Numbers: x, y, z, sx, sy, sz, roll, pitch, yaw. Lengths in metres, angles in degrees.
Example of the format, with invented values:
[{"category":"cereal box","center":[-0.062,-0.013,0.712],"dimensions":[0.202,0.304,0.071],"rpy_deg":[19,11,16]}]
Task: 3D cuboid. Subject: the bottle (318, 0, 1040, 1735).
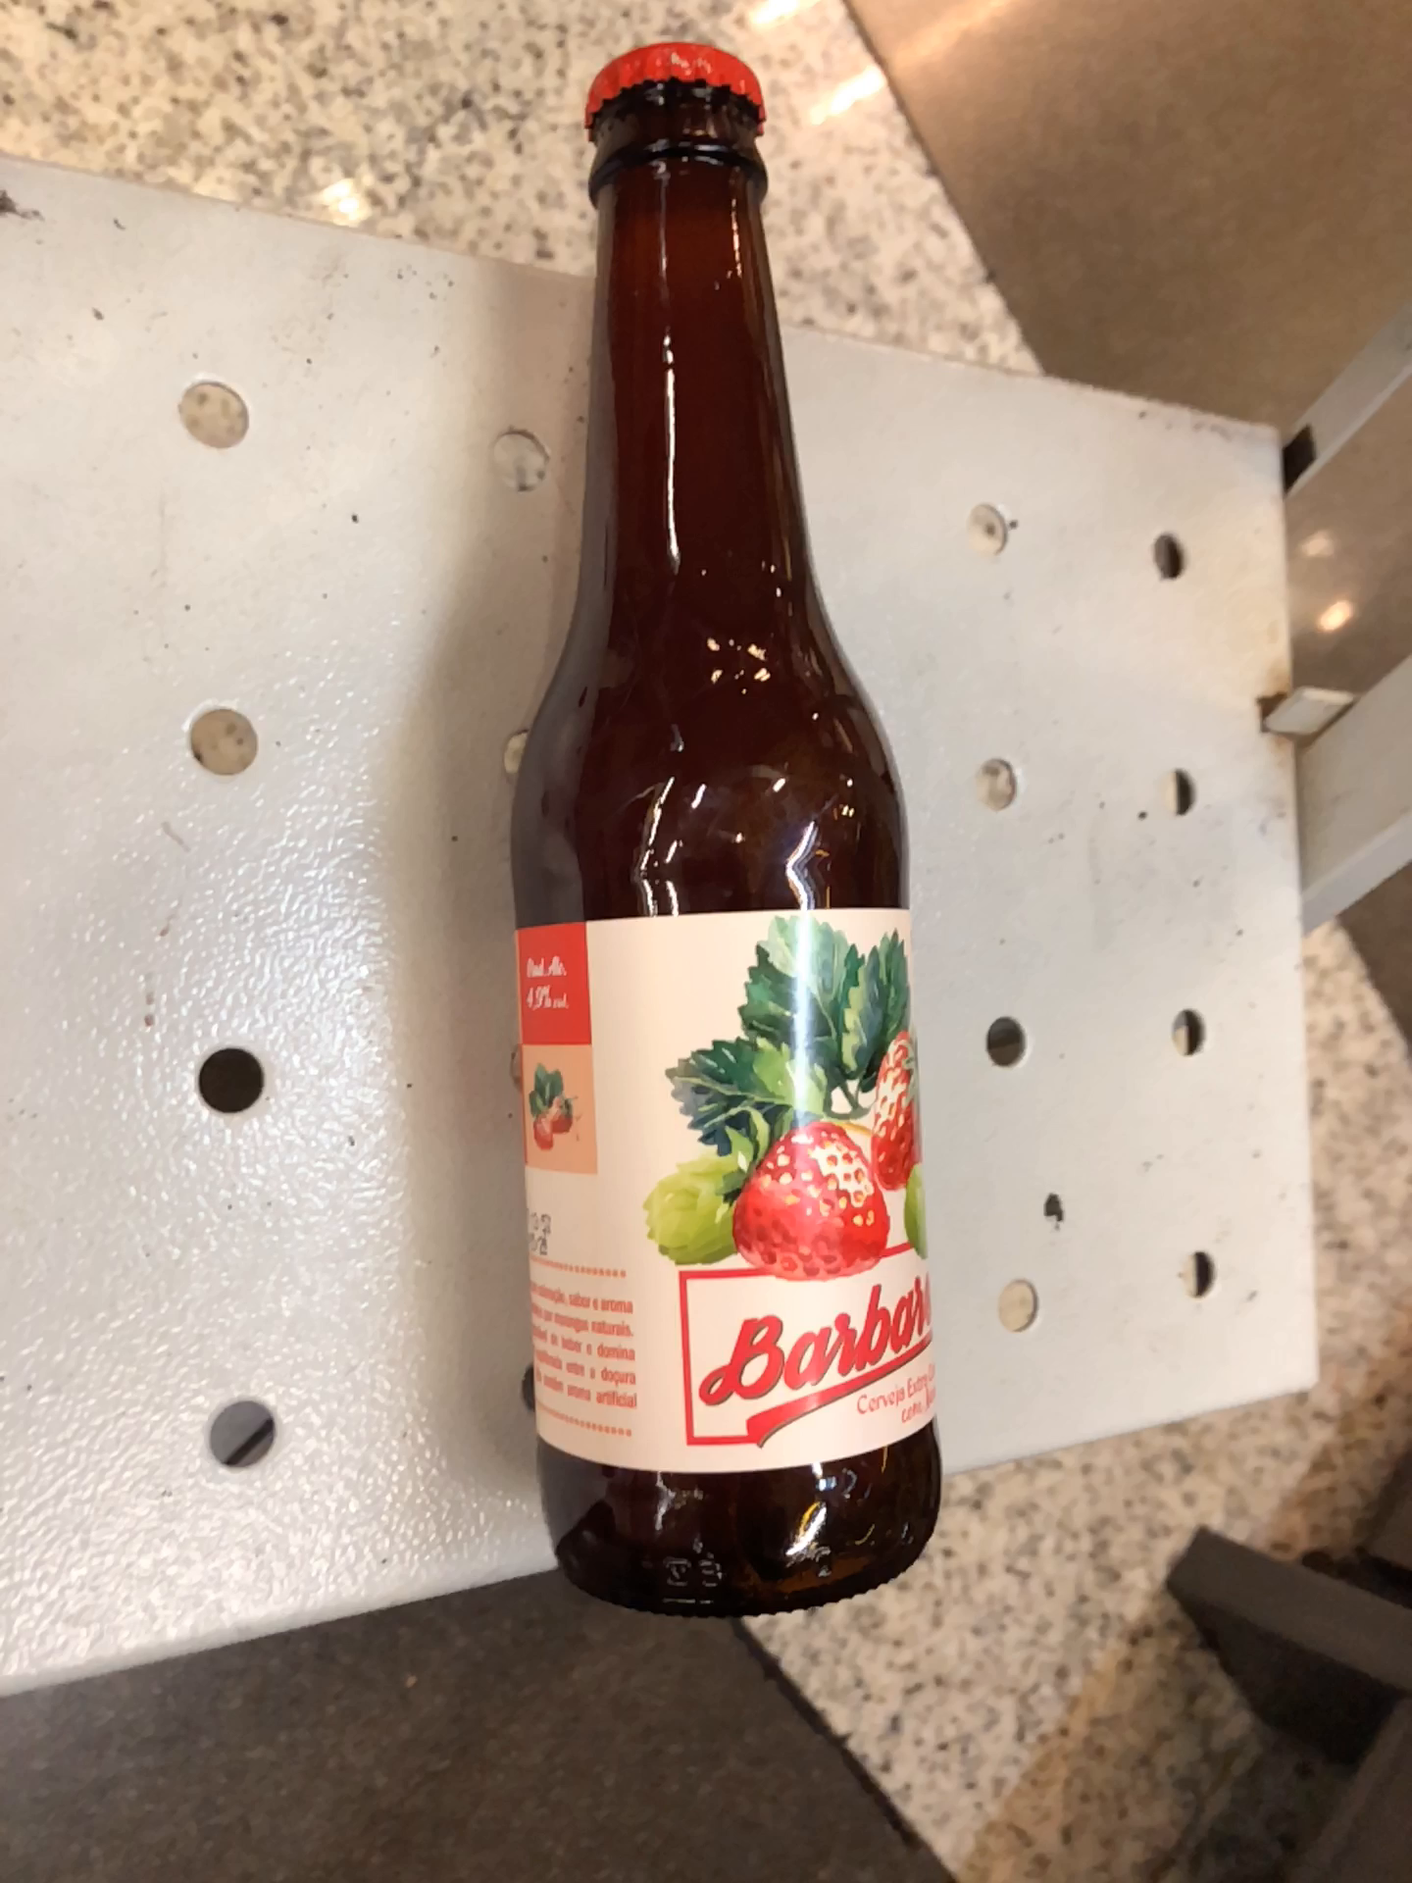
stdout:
[{"category":"bottle","center":[-0.006,-0.026,0.232],"dimensions":[0.070,0.060,0.240],"rpy_deg":[-3,89,-30]}]
